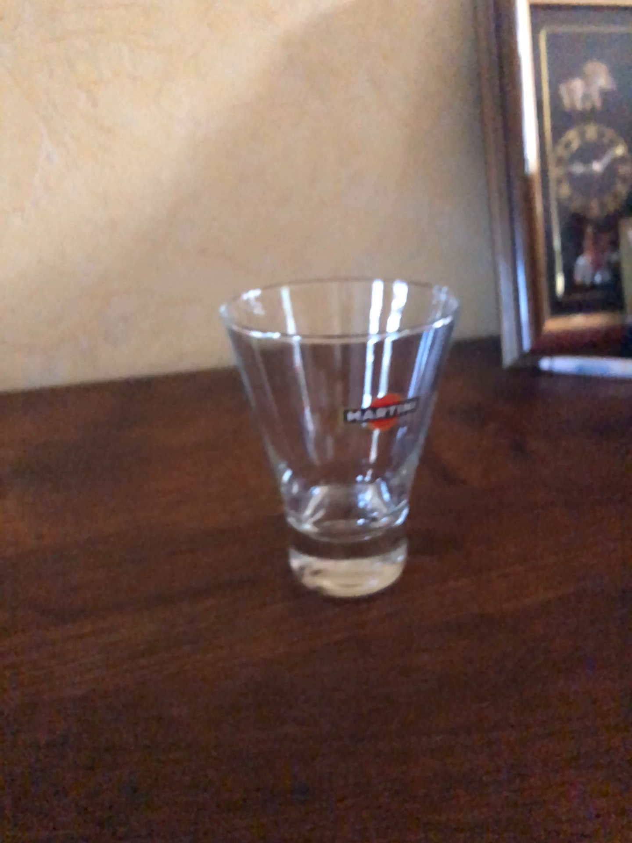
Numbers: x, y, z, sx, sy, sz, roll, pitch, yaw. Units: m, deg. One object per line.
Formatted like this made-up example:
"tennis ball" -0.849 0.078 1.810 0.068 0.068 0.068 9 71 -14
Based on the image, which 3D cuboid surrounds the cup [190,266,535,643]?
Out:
"cup" 0.013 0.002 0.279 0.090 0.100 0.100 -12 25 -21
